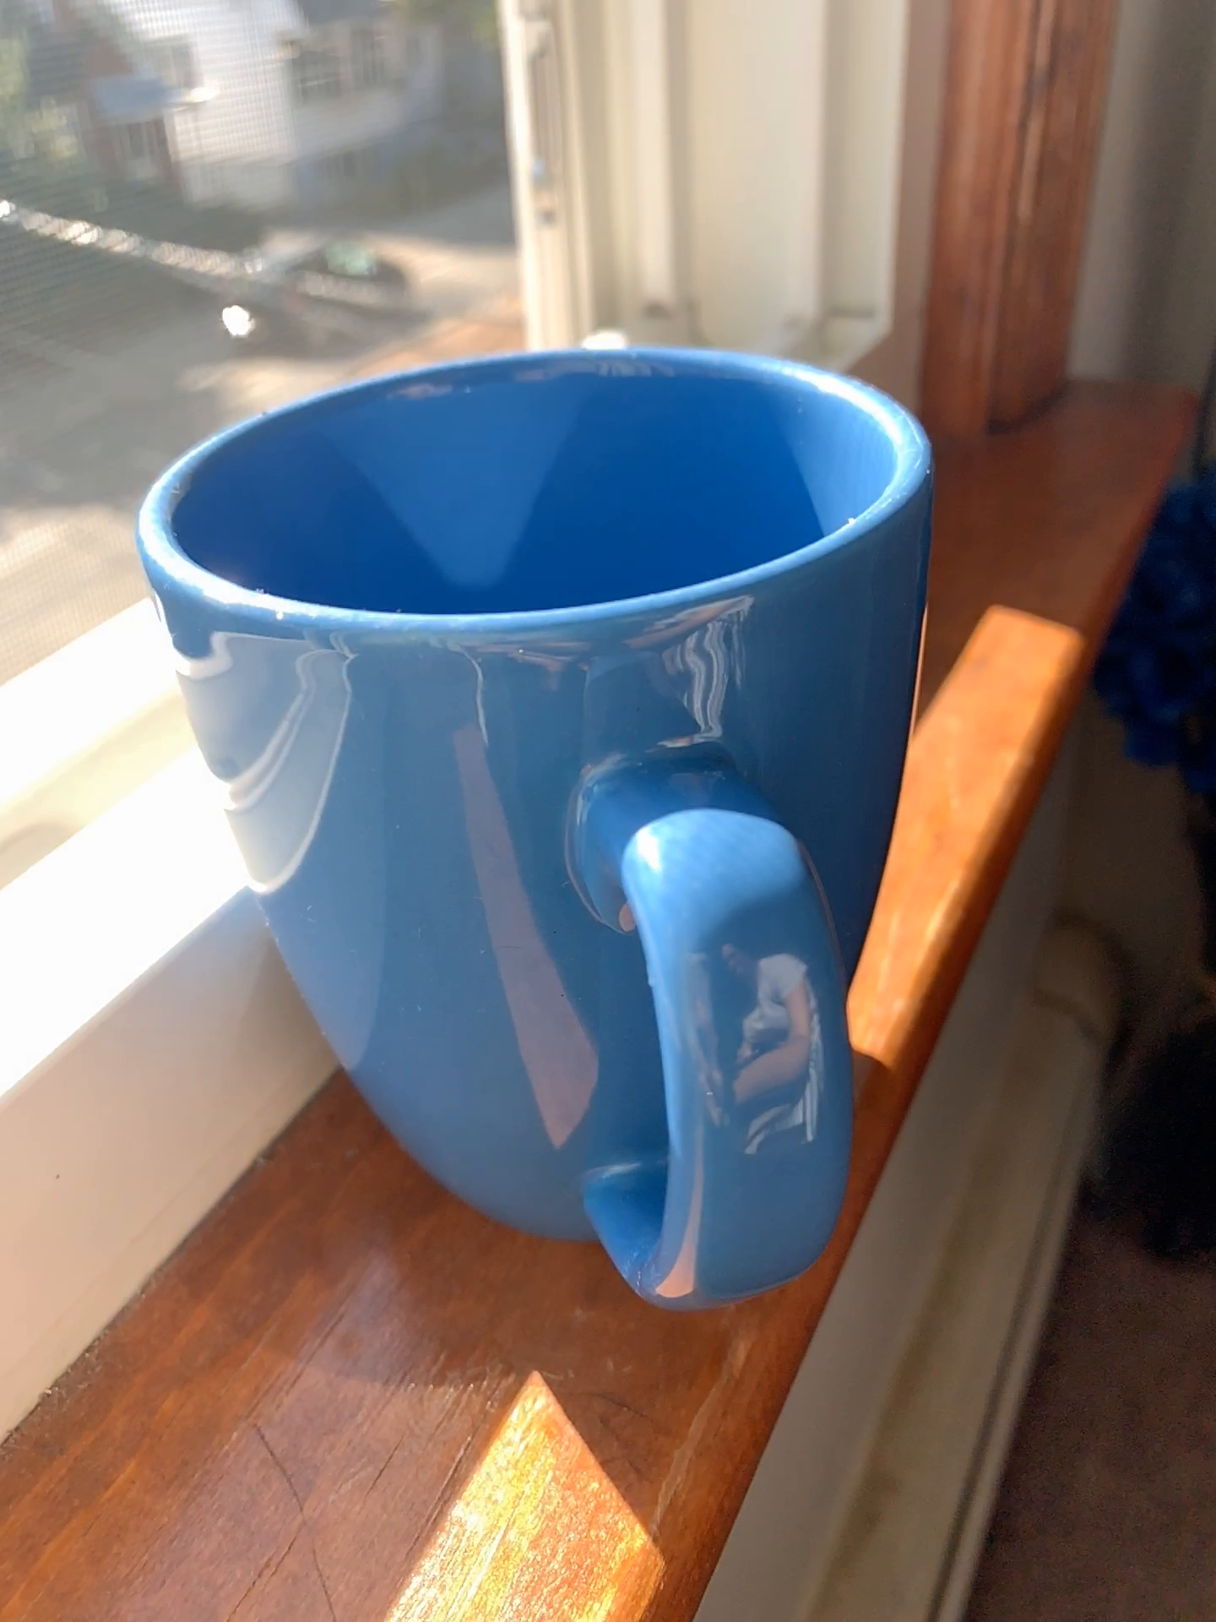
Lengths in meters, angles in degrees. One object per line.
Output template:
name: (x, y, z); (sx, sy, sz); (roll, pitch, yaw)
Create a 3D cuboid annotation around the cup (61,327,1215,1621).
cup: (-0.005, 0.007, 0.159); (0.081, 0.095, 0.114); (-9, 34, -9)
